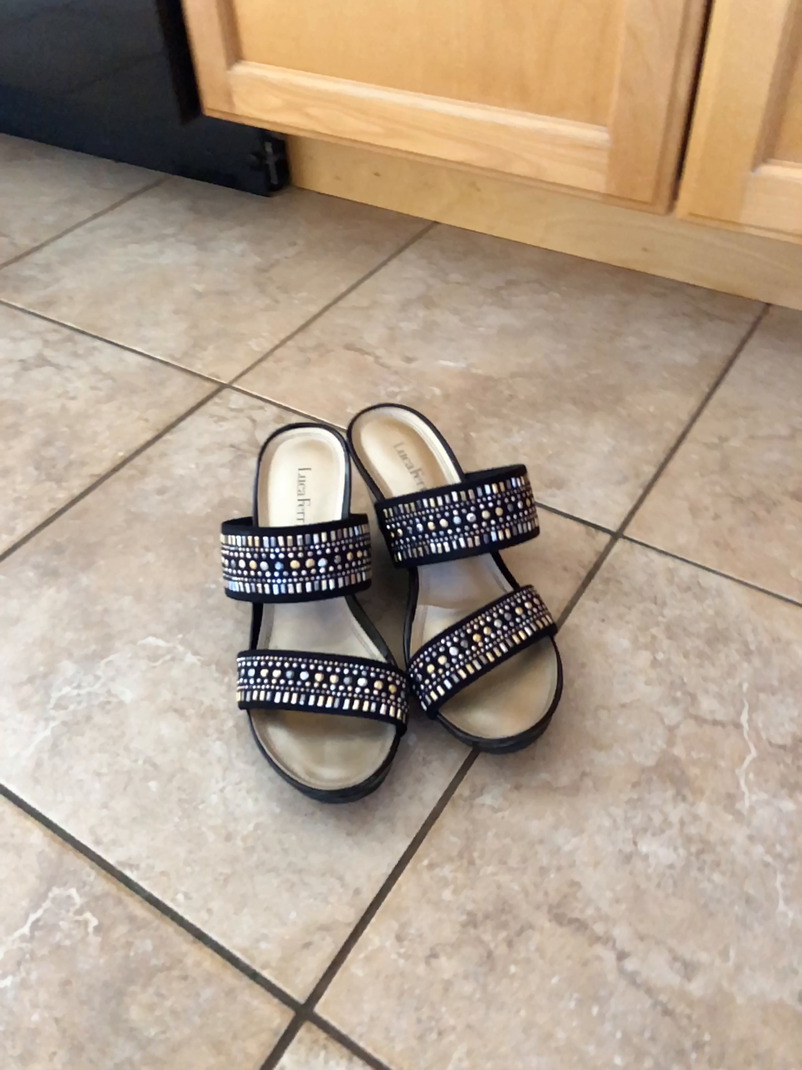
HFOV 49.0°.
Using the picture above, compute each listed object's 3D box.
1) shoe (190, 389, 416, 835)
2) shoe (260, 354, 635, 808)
[{"bbox_3d":[-0.052,0.030,0.477,0.090,0.100,0.221,-6,44,-2],"label":"shoe"},{"bbox_3d":[0.013,0.011,0.483,0.110,0.100,0.221,-18,46,-14],"label":"shoe"}]
